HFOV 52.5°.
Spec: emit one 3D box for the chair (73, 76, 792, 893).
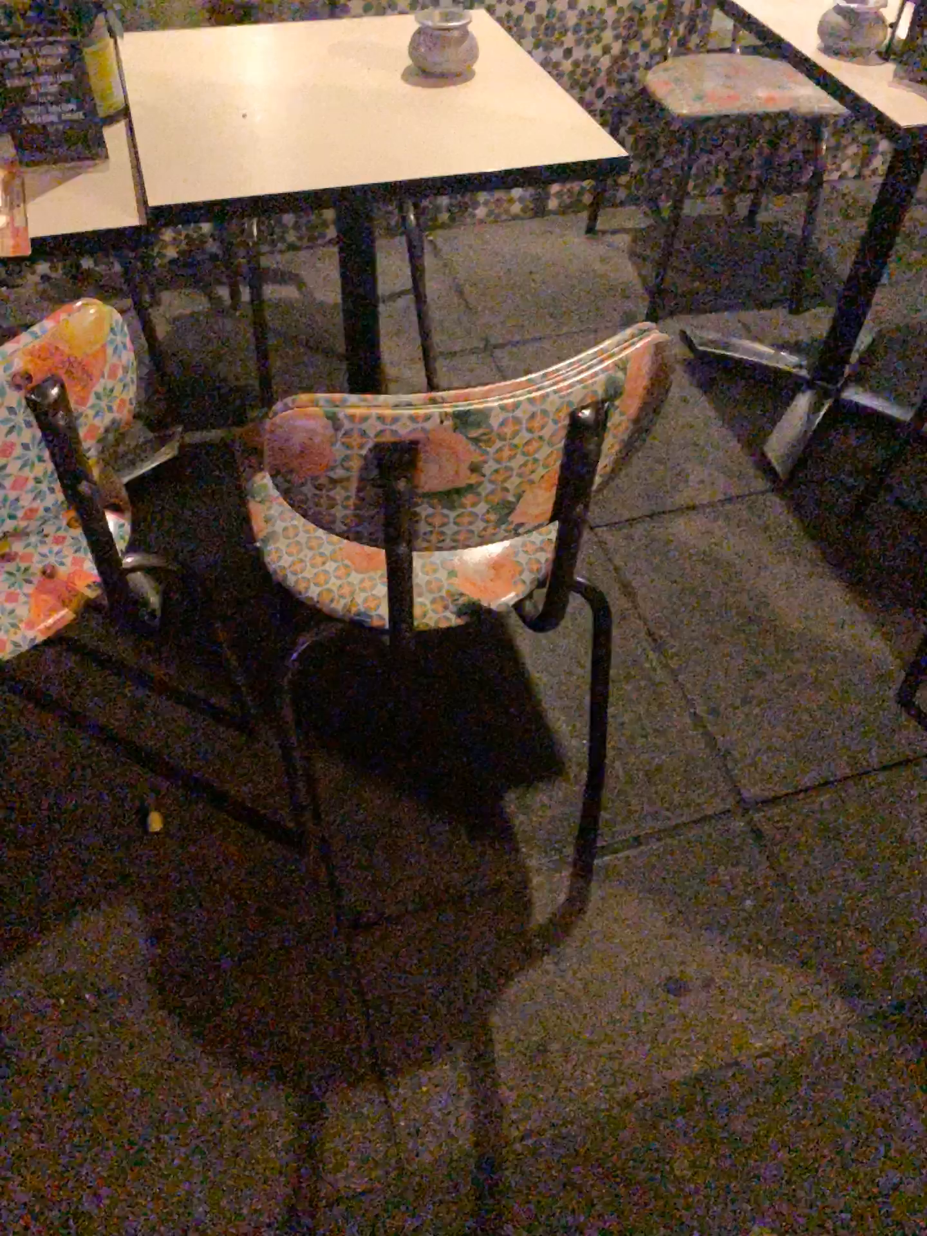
[{"bbox_3d":[-0.082,-0.147,1.145,0.520,0.694,0.575,-14,52,-13],"label":"chair"}]
